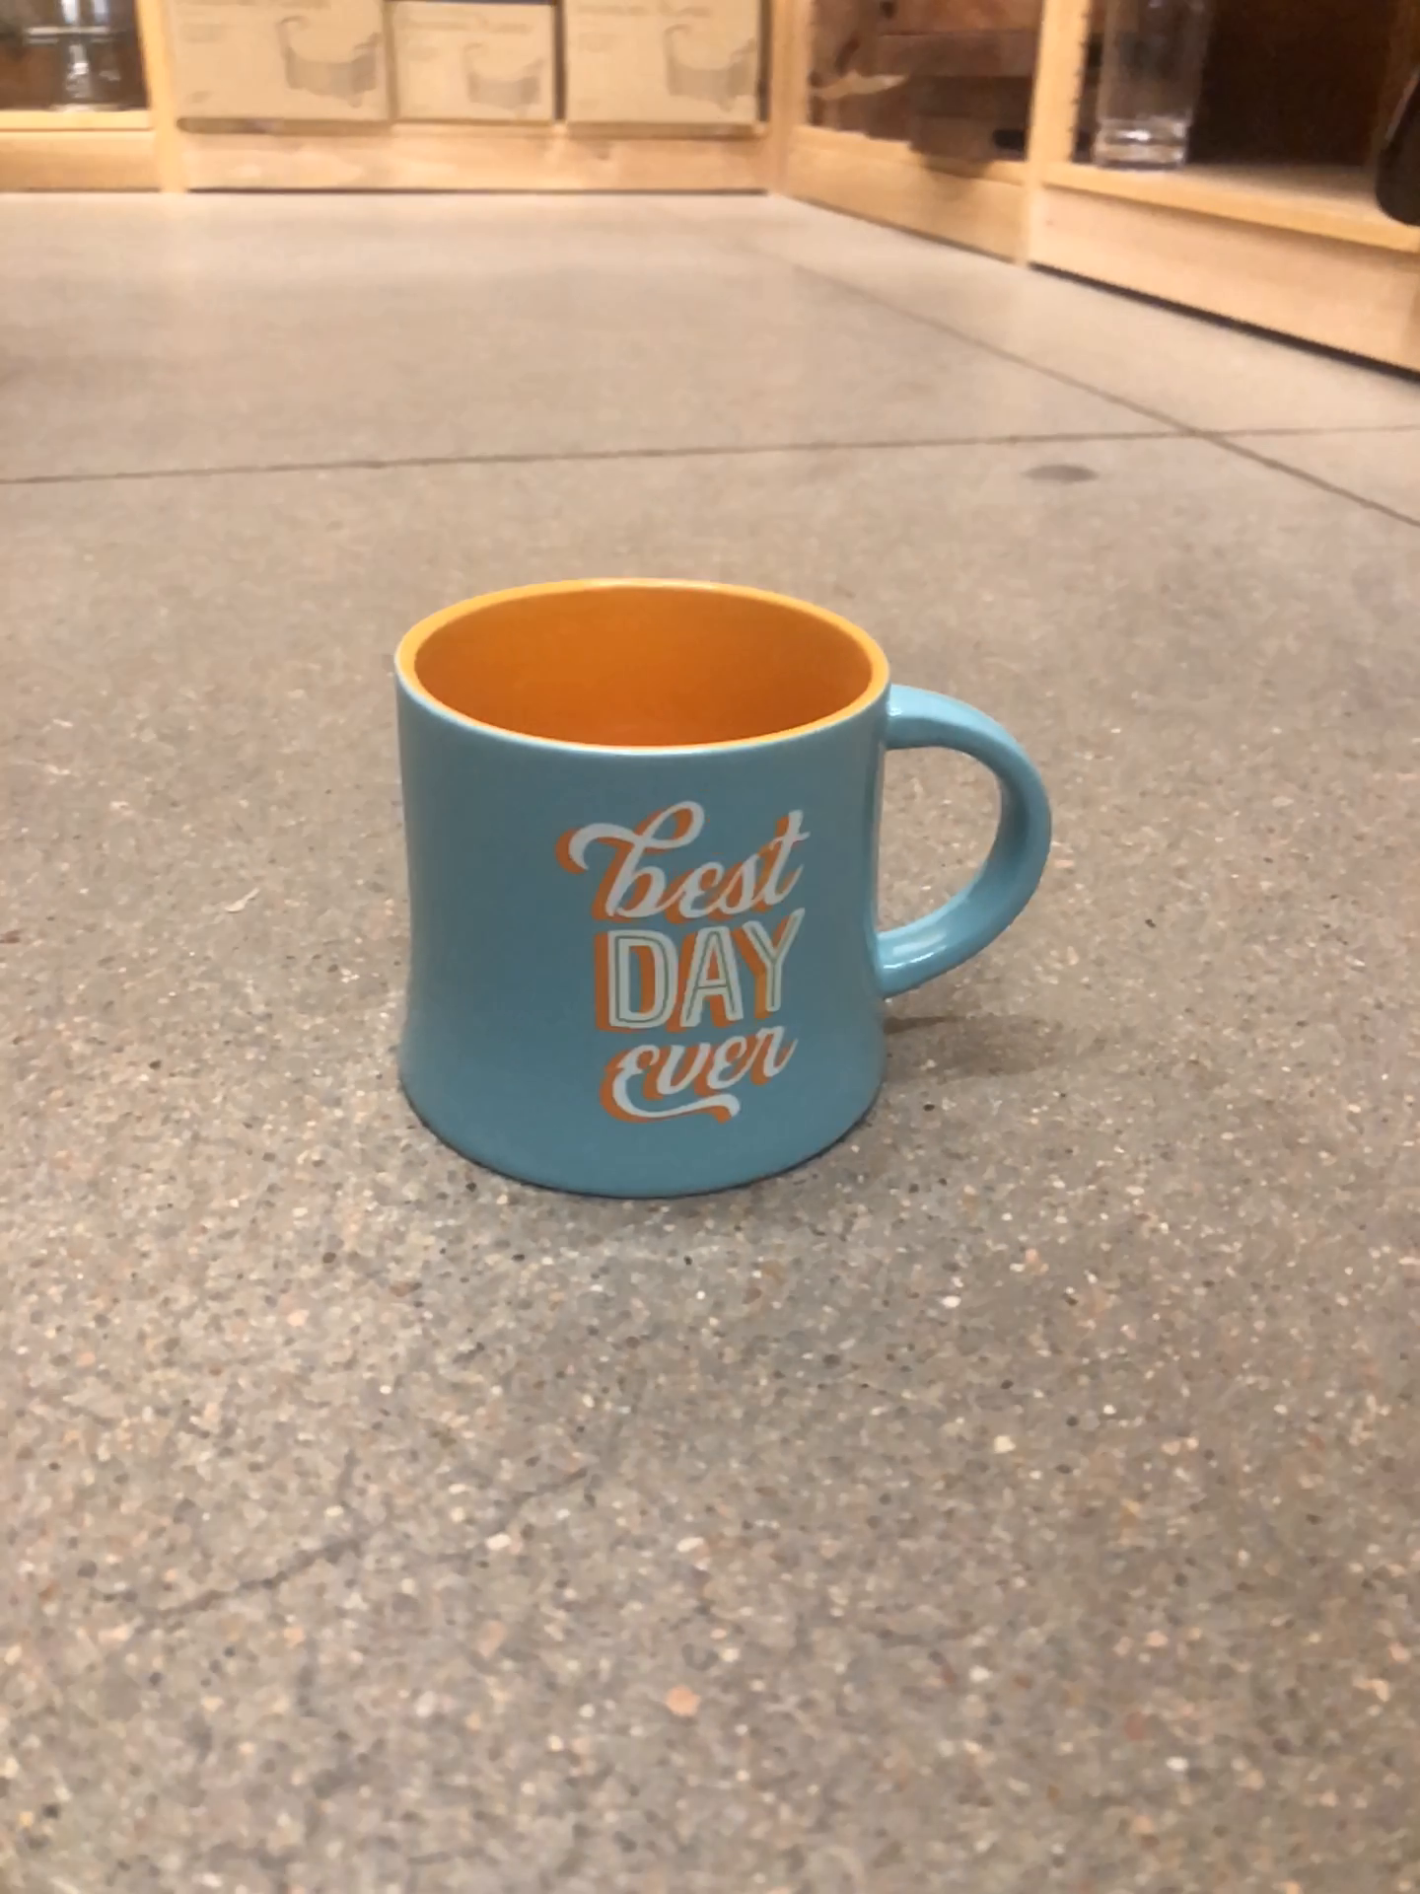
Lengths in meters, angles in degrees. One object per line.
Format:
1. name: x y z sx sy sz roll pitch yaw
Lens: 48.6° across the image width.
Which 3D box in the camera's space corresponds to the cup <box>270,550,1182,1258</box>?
1. cup: -0.002 -0.016 0.315 0.143 0.097 0.108 -2 29 -7
